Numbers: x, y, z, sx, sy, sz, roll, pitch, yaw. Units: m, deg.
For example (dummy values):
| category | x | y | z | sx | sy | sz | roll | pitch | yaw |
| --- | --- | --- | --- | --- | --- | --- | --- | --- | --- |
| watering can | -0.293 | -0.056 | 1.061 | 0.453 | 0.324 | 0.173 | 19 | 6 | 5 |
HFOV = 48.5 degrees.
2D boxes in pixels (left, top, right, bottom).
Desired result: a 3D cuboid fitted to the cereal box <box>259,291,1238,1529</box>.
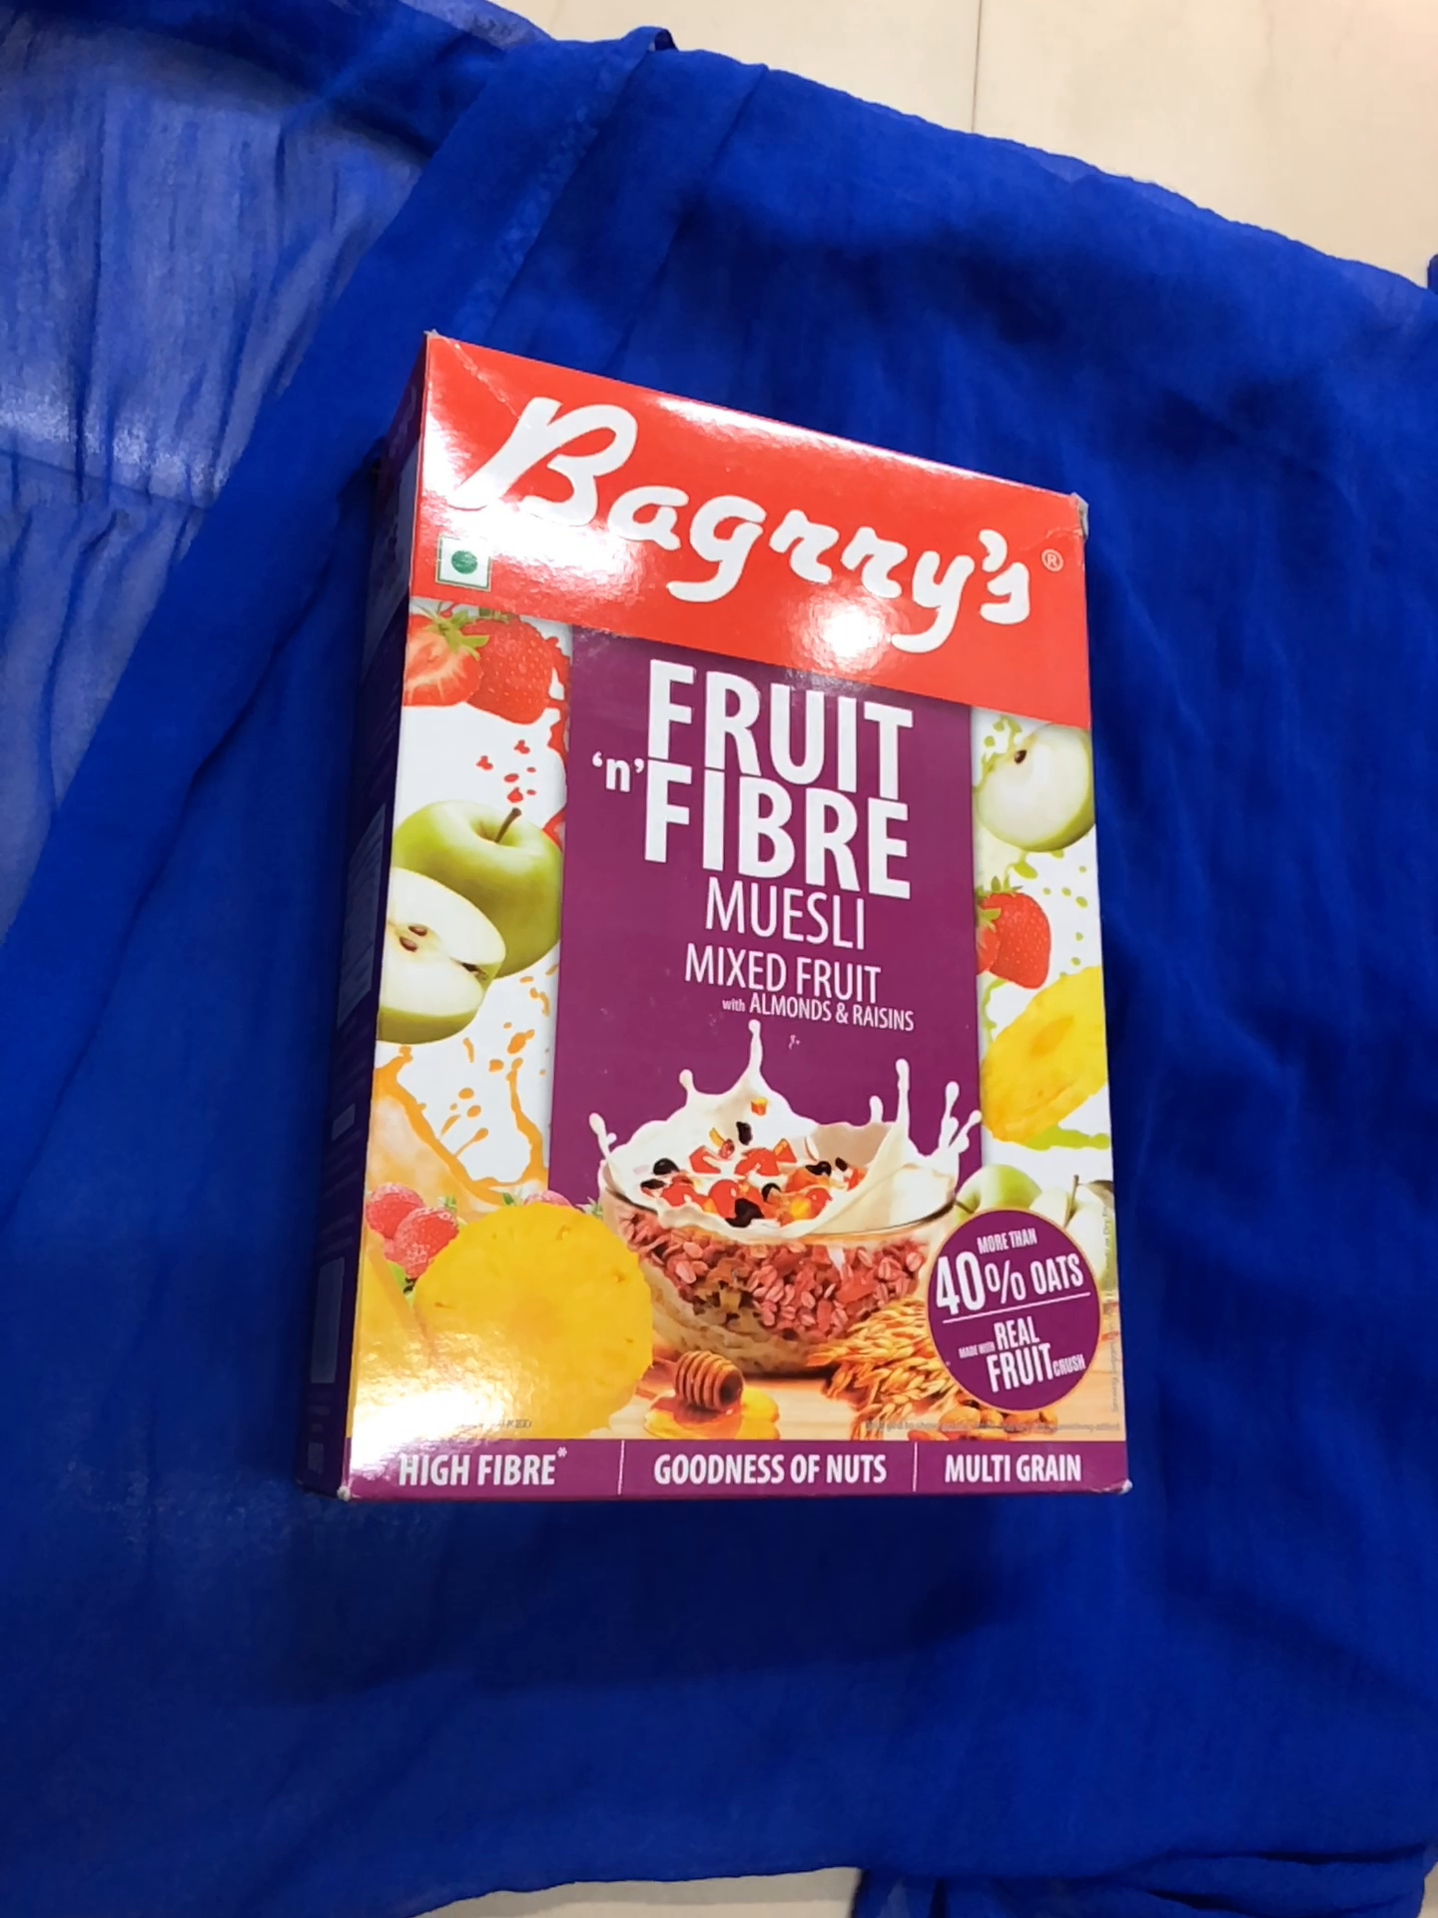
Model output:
| category | x | y | z | sx | sy | sz | roll | pitch | yaw |
| --- | --- | --- | --- | --- | --- | --- | --- | --- | --- |
| cereal box | 0.010 | -0.002 | 0.382 | 0.200 | 0.080 | 0.250 | 7 | 74 | -21 |
